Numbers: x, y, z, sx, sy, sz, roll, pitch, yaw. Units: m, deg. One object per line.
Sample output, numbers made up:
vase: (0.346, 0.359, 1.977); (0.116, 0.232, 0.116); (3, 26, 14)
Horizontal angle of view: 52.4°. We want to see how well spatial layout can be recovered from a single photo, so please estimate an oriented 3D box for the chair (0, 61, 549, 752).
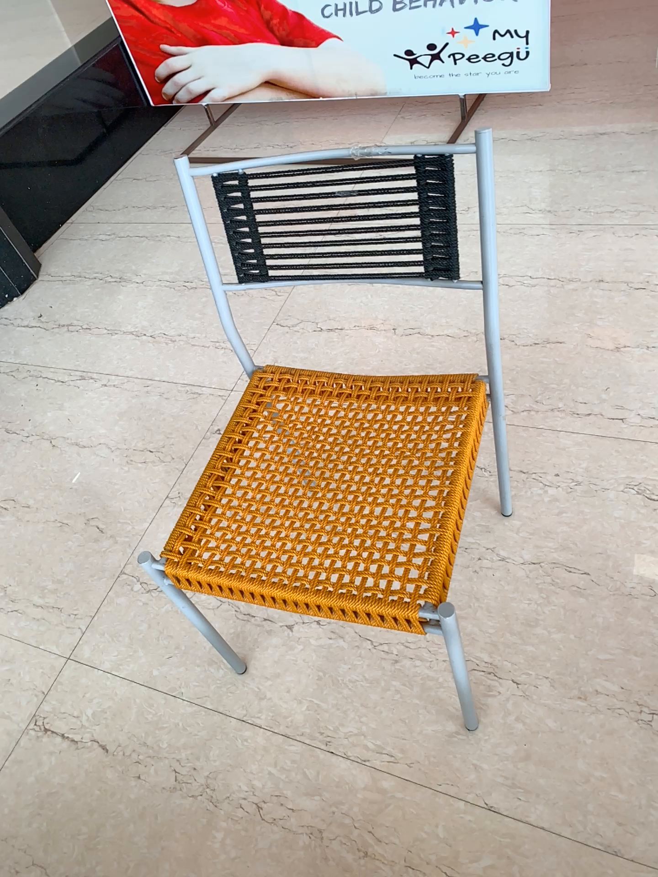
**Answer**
chair: (0.022, 0.007, 0.992); (0.521, 0.804, 0.513); (6, 52, 23)
